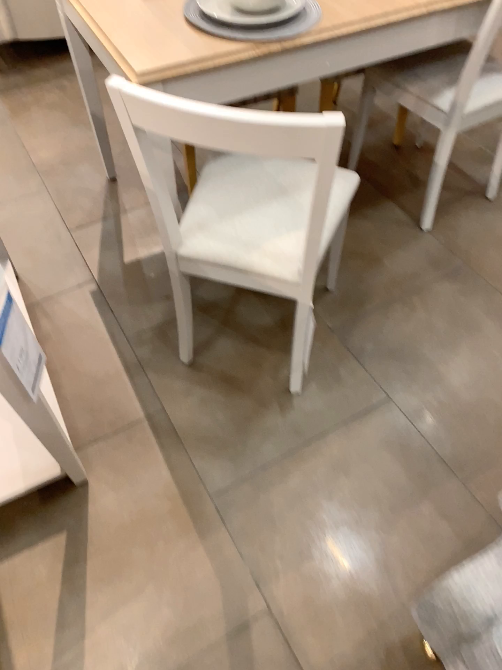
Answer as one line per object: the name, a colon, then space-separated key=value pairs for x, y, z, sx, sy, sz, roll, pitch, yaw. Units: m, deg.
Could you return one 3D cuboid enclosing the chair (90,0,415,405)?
chair: x=0.037 y=-0.312 z=1.271 sx=0.461 sy=0.833 sz=0.511 roll=15 pitch=54 yaw=12
